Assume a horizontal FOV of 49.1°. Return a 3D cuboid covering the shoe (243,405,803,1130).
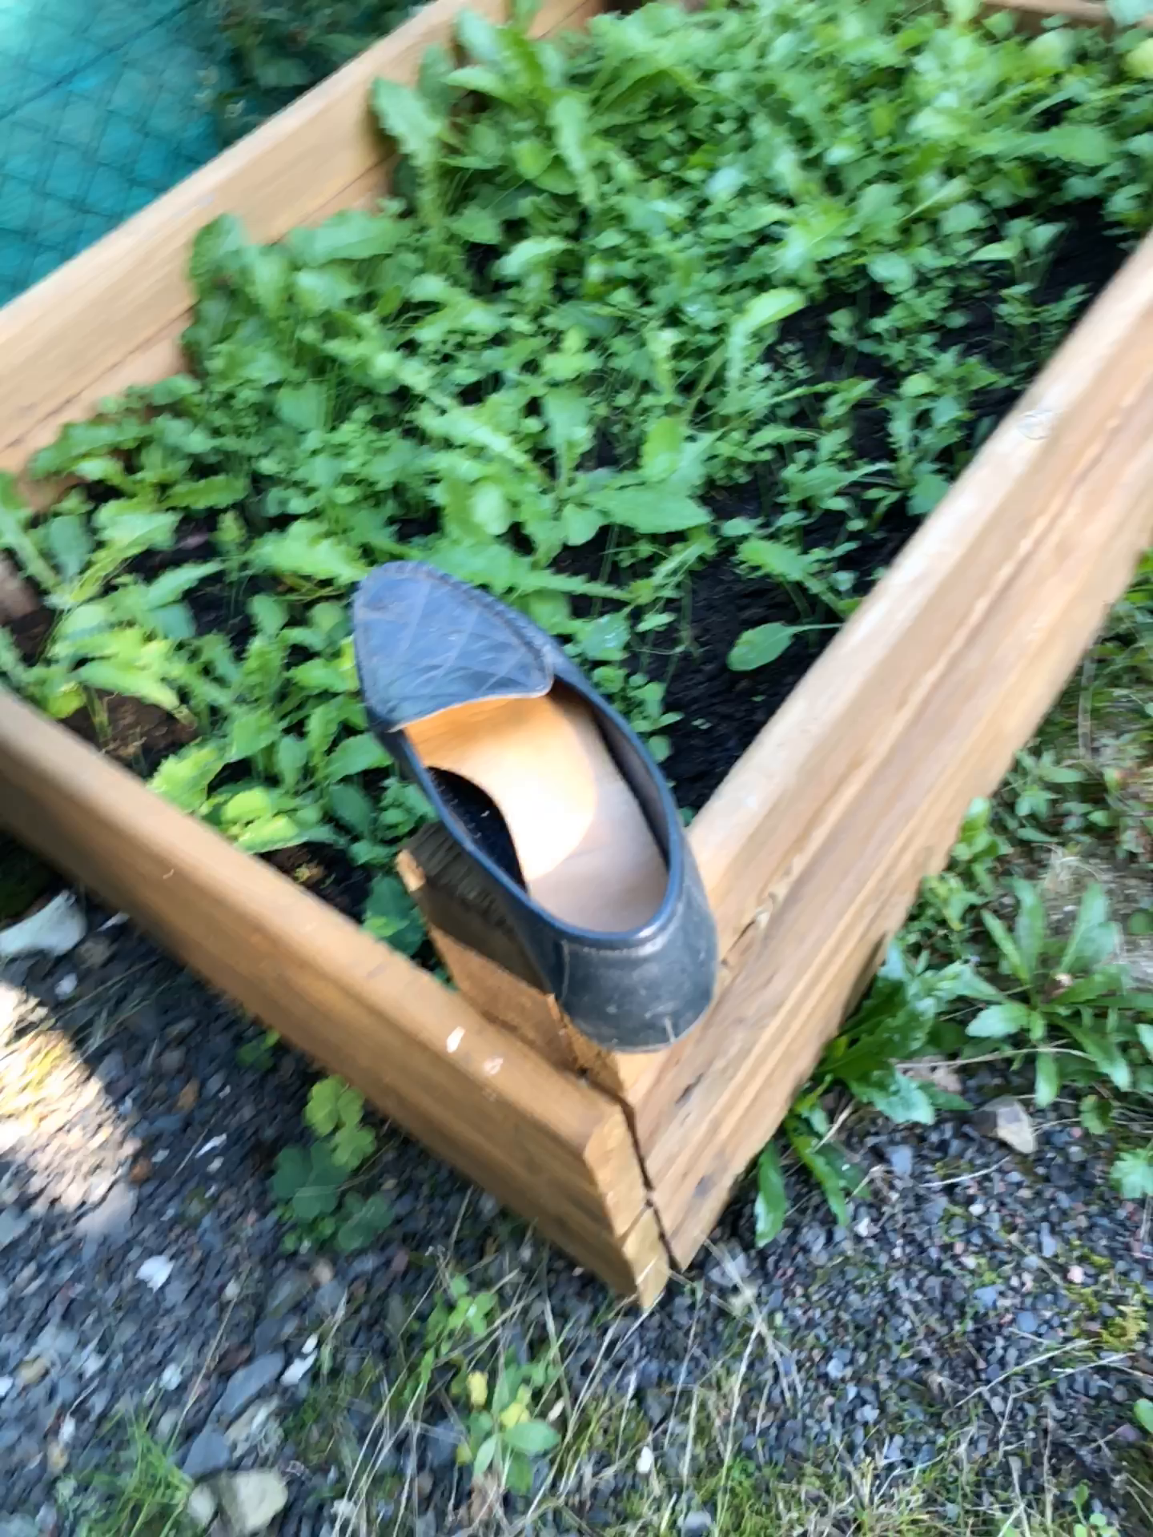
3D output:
[{"bbox_3d":[-0.028,-0.011,0.490,0.100,0.090,0.261,-25,59,-10],"label":"shoe"}]
